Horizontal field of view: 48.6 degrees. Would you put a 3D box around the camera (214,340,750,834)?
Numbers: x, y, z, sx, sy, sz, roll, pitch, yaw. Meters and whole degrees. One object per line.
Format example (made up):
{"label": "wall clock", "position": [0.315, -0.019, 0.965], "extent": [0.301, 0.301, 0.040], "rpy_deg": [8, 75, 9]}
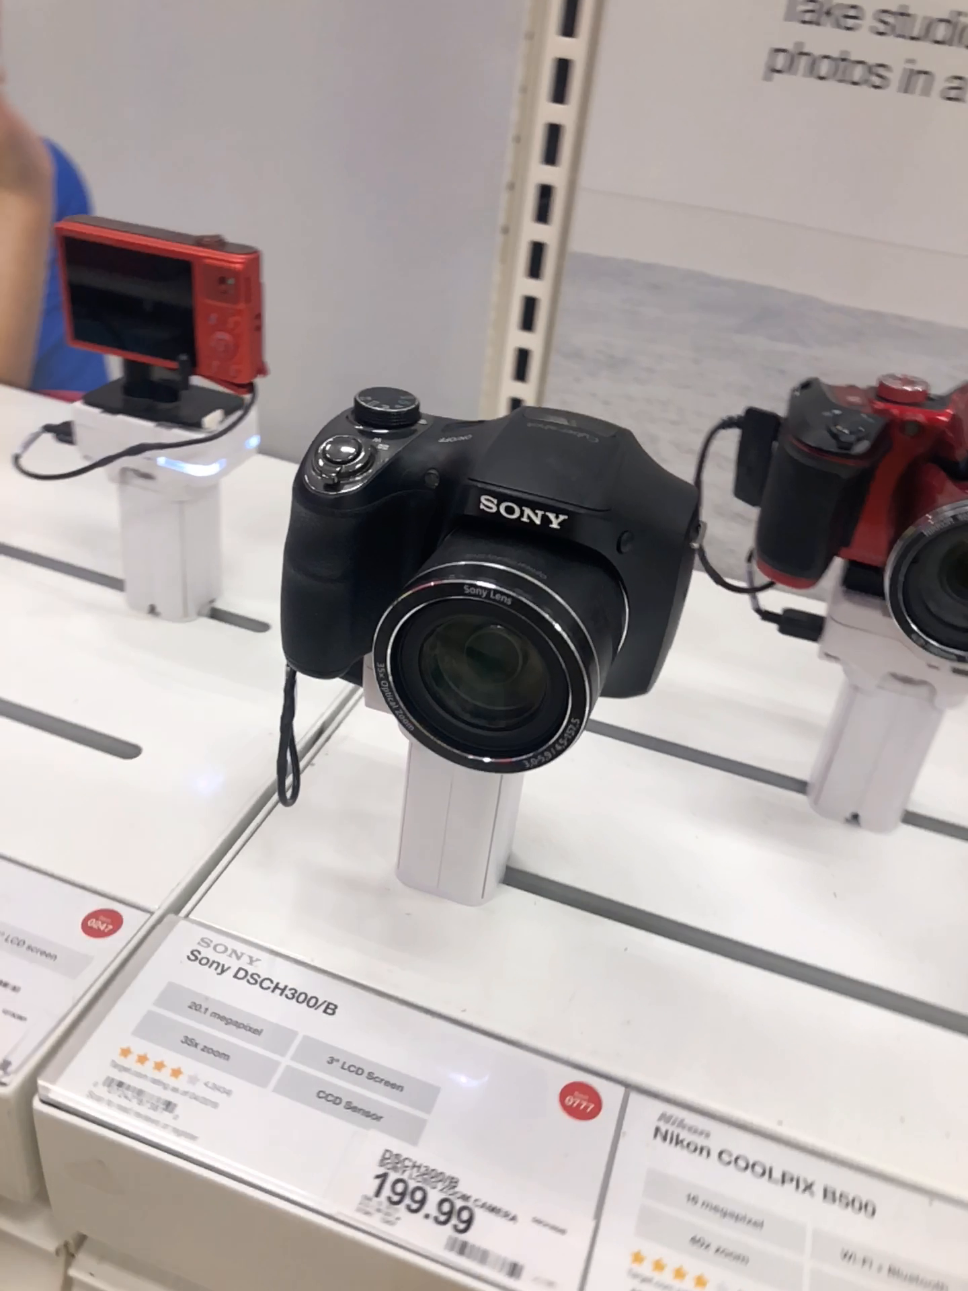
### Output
{"label": "camera", "position": [0.000, -0.024, 0.327], "extent": [0.130, 0.089, 0.090], "rpy_deg": [16, 34, 13]}
